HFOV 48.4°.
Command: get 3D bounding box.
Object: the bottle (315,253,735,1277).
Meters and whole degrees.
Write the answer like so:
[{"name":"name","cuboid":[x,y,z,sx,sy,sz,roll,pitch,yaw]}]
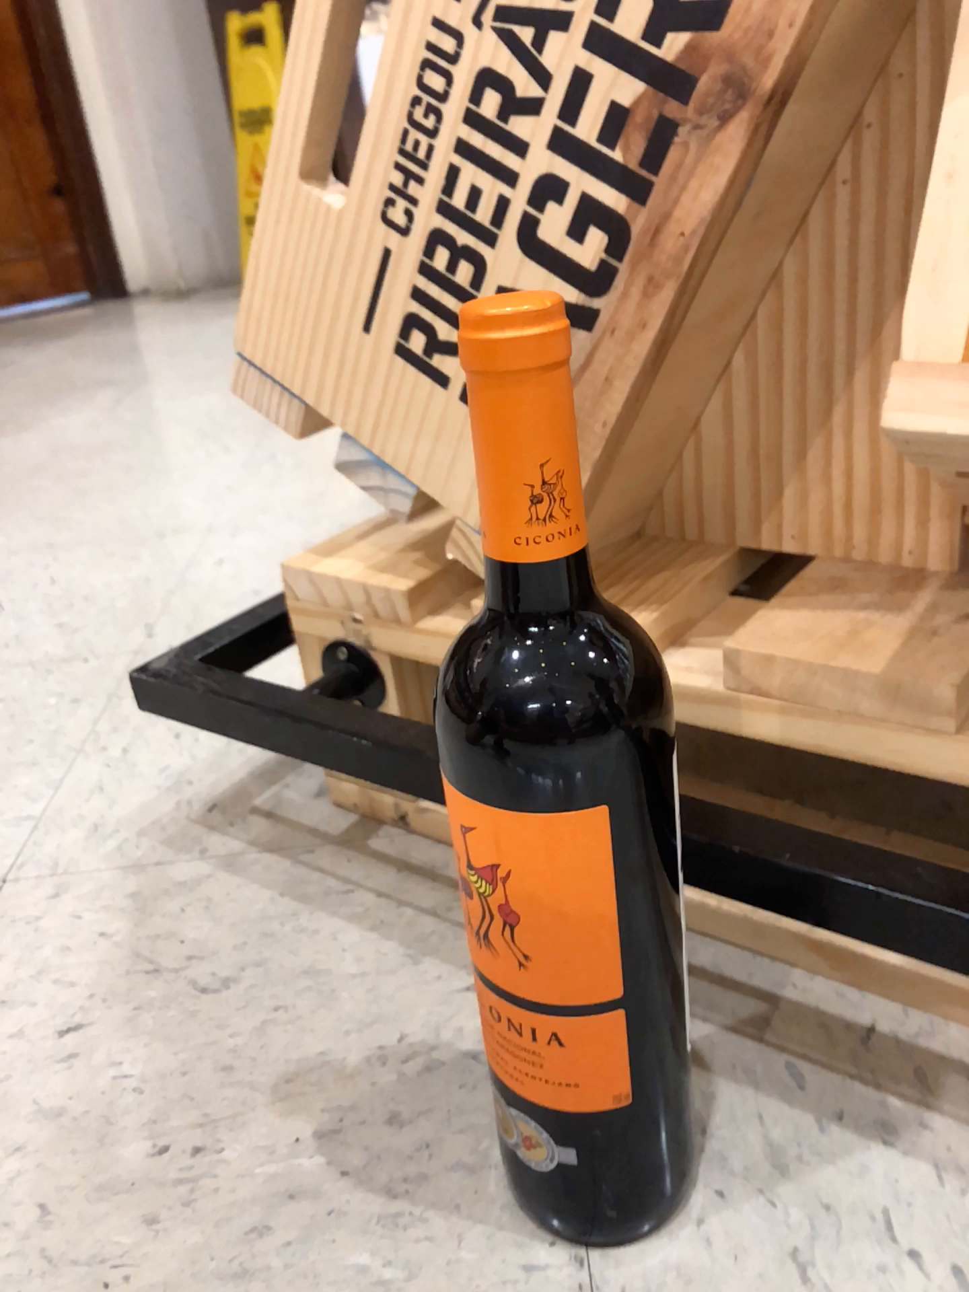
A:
[{"name":"bottle","cuboid":[0.024,0.047,0.346,0.070,0.318,0.080,-24,30,-32]}]
